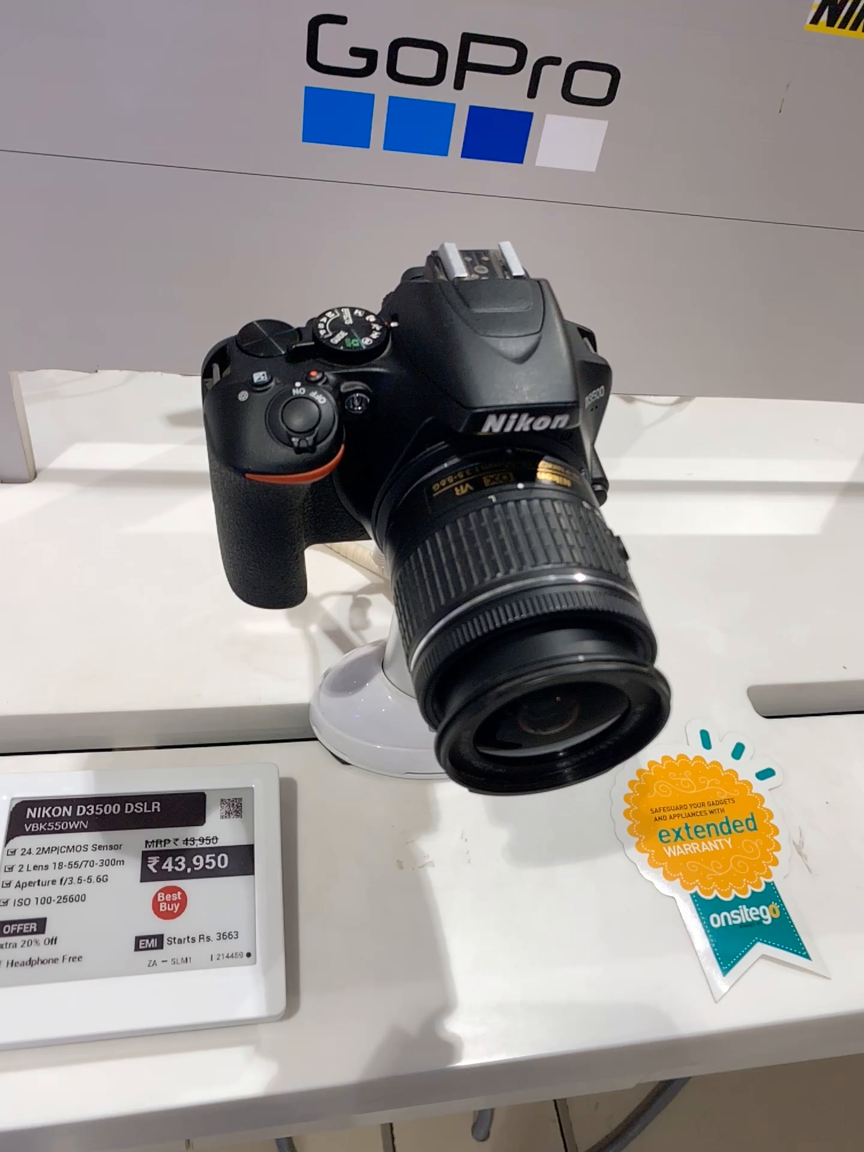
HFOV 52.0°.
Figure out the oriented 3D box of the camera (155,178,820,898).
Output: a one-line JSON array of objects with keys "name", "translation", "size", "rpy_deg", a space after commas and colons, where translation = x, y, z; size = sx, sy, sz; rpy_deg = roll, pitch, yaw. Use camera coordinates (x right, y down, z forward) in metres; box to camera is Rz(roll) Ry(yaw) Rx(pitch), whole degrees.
[{"name": "camera", "translation": [-0.009, -0.025, 0.251], "size": [0.120, 0.090, 0.181], "rpy_deg": [-4, 48, -16]}]
